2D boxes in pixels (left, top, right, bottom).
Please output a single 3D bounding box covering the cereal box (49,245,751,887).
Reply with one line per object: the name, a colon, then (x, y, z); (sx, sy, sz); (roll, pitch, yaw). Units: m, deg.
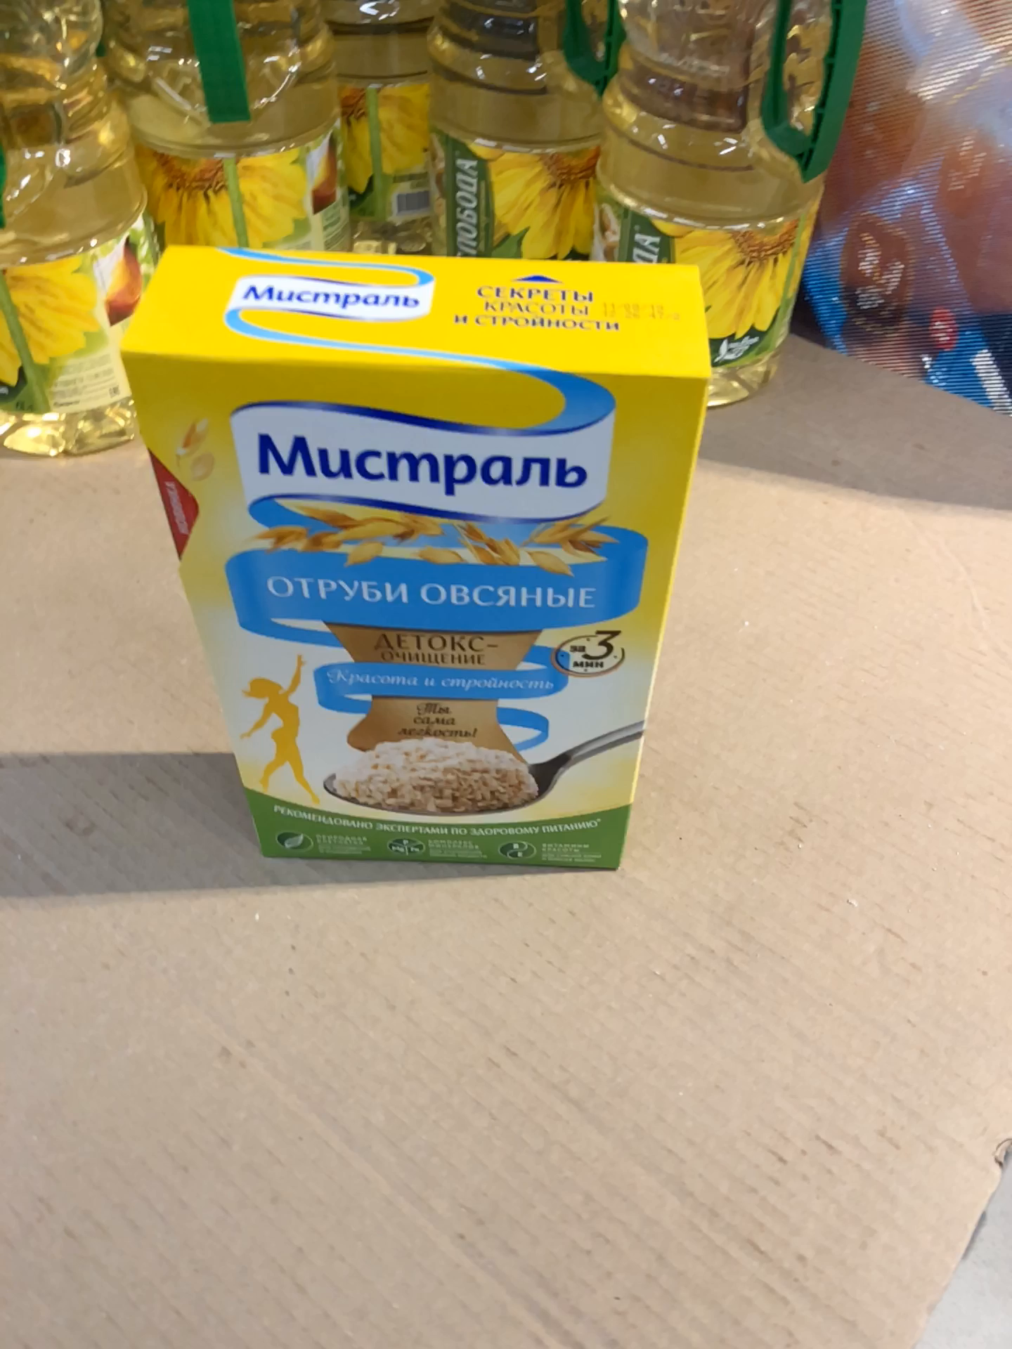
cereal box: (-0.022, -0.015, 0.333); (0.150, 0.209, 0.050); (2, 50, 2)
